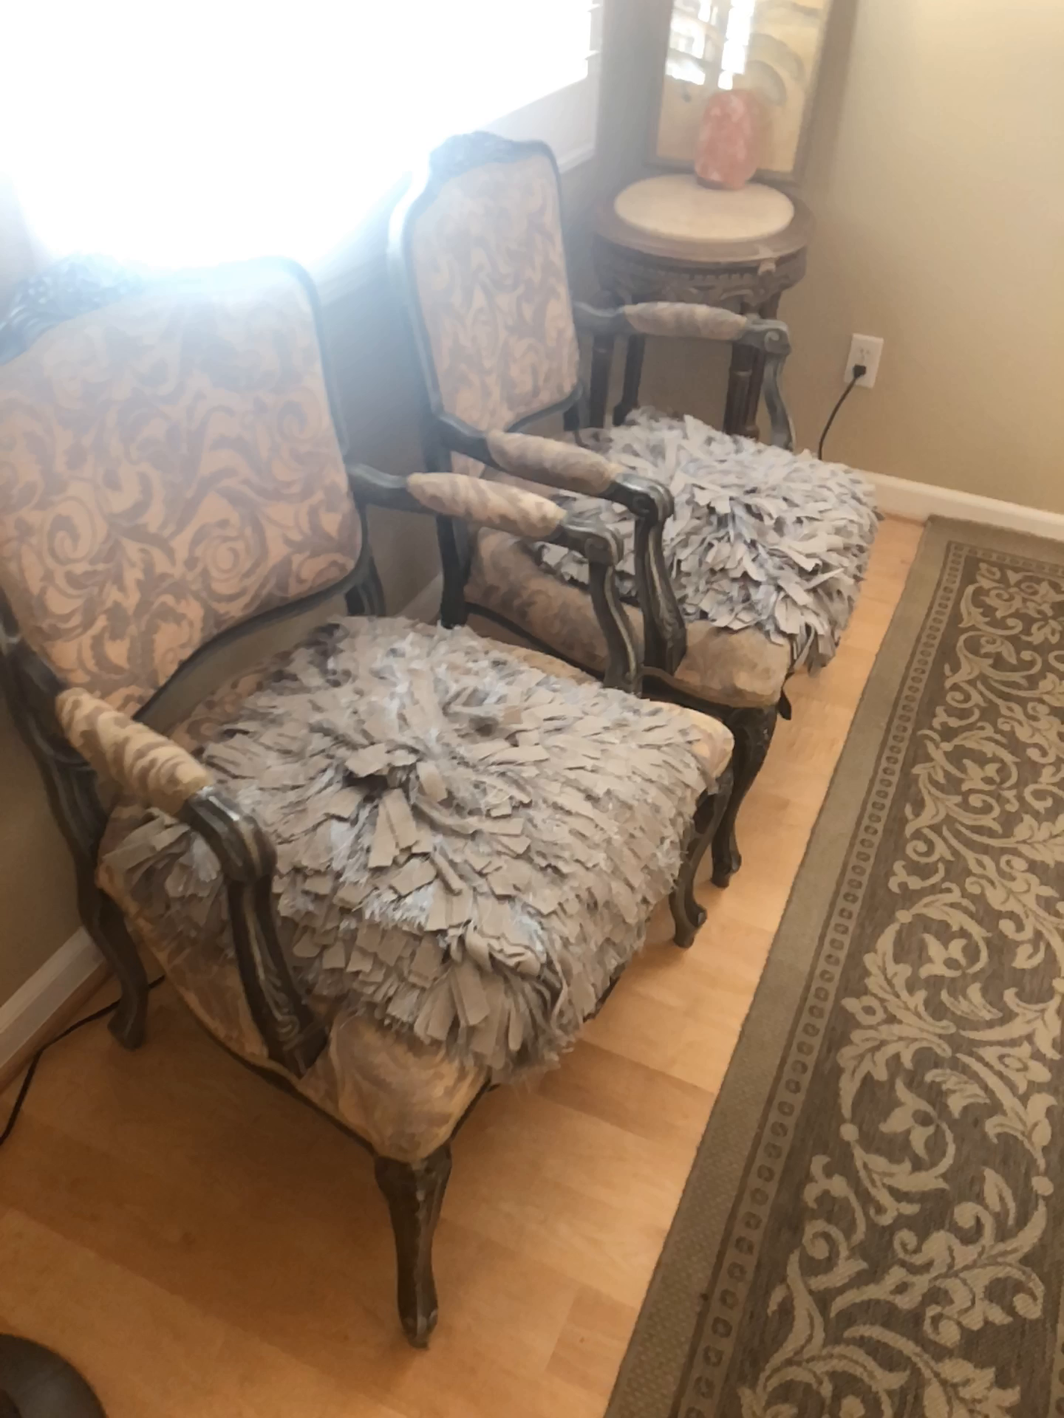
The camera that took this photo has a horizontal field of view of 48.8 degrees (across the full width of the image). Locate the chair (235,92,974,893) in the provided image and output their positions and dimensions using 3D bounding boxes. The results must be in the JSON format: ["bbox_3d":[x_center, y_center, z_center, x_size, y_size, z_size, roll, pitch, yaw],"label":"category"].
[{"bbox_3d":[0.132,-0.382,1.836,0.780,0.852,0.747,17,40,17],"label":"chair"}]

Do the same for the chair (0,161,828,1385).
[{"bbox_3d":[-0.174,0.036,1.268,0.600,0.951,0.696,22,42,23],"label":"chair"}]
